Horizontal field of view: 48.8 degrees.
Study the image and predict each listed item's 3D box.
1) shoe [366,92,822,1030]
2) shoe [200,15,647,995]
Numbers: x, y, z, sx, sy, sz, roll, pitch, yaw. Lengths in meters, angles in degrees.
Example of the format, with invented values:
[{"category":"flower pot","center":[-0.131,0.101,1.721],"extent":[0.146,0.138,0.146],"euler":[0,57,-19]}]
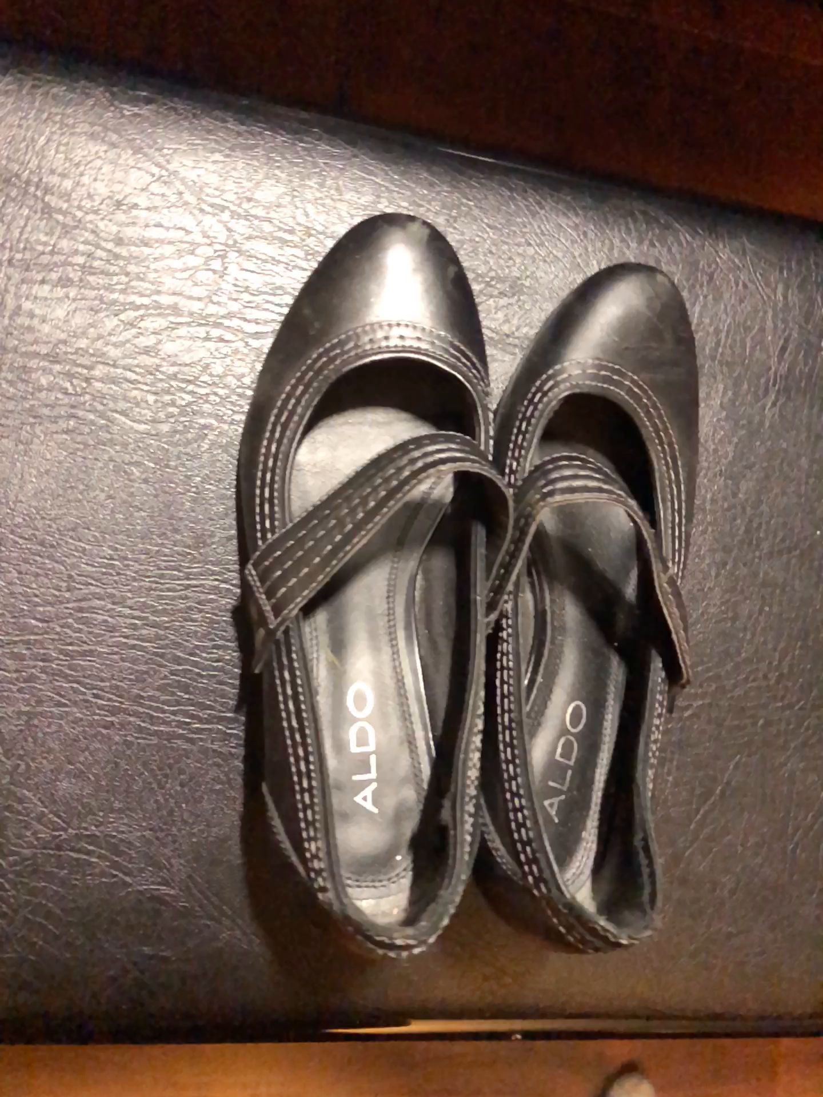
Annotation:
[{"category":"shoe","center":[0.070,0.005,0.301],"extent":[0.100,0.110,0.240],"euler":[14,83,-13]},{"category":"shoe","center":[-0.004,-0.008,0.285],"extent":[0.100,0.110,0.240],"euler":[5,85,-14]}]
